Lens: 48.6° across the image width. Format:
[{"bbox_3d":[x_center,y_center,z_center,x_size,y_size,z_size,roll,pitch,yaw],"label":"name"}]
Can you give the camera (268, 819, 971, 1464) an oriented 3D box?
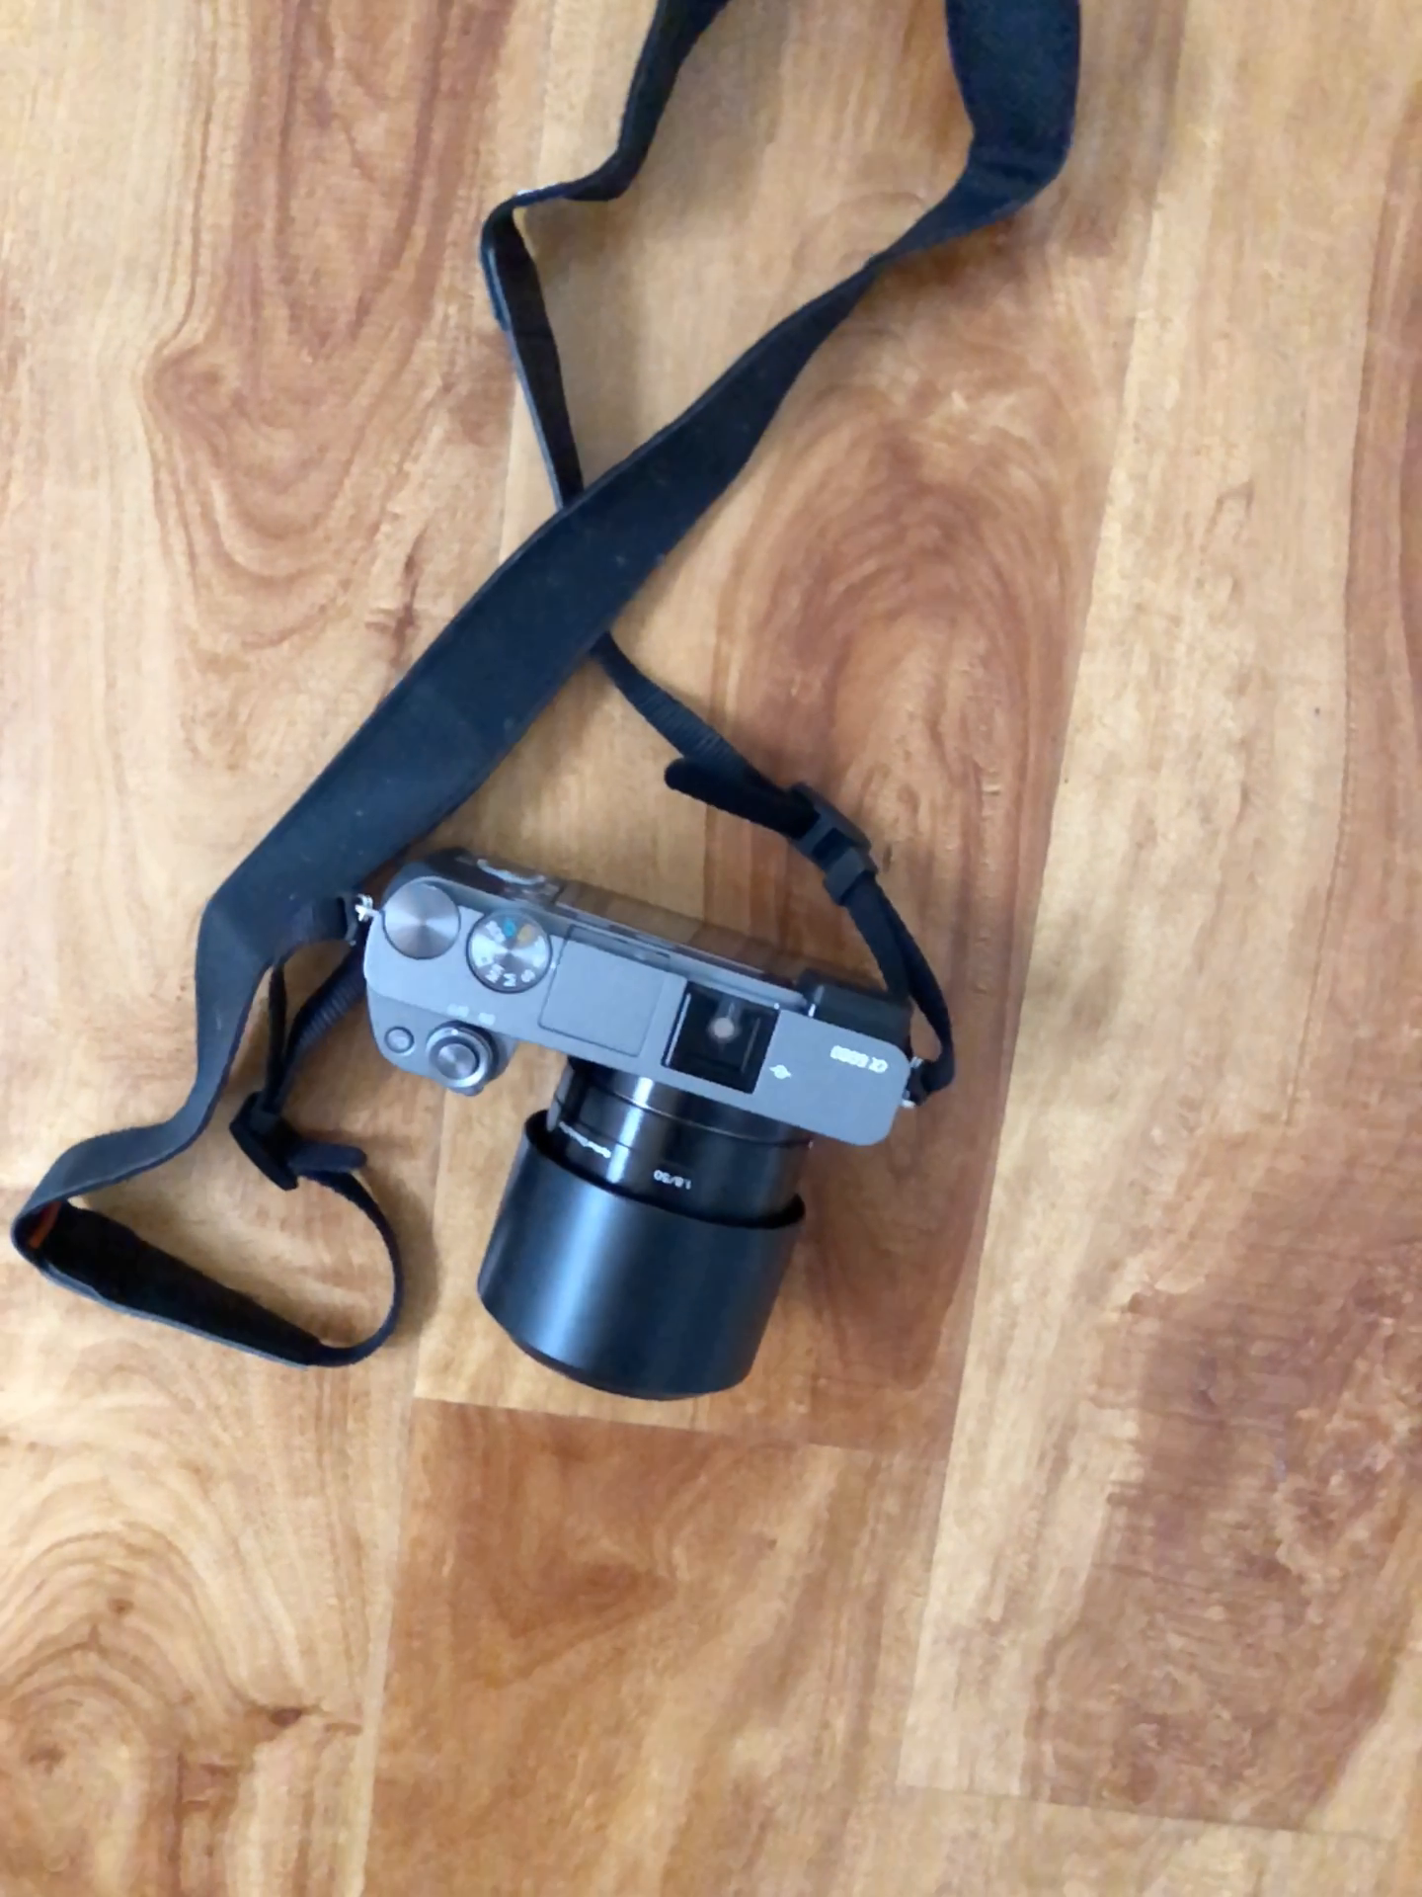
[{"bbox_3d":[-0.021,0.042,0.382,0.130,0.070,0.110,16,98,-2],"label":"camera"}]
